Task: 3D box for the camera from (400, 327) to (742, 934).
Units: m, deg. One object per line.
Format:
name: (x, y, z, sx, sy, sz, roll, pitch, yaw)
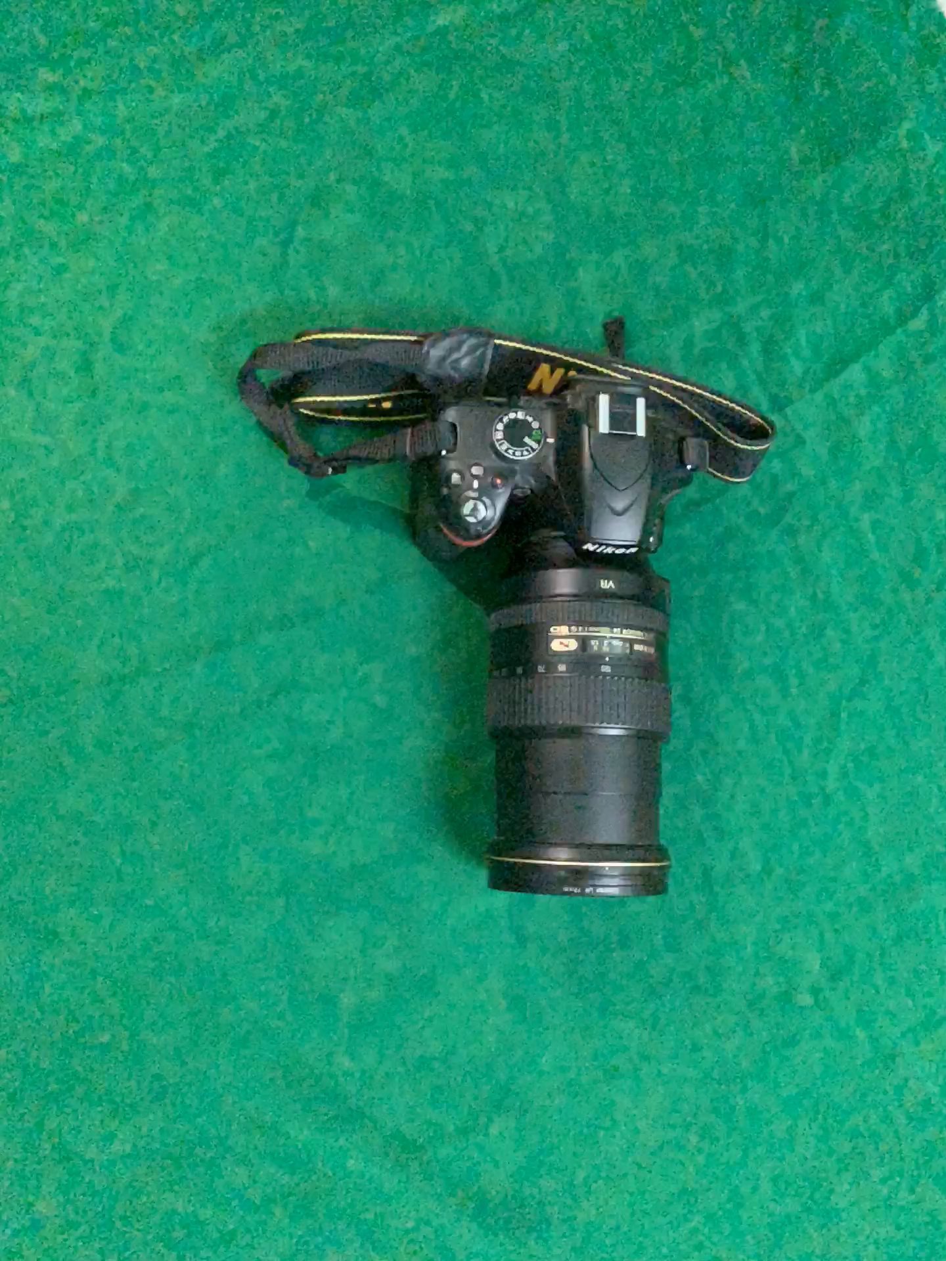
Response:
camera: (0.036, 0.003, 0.426, 0.122, 0.088, 0.234, 2, 81, -12)
